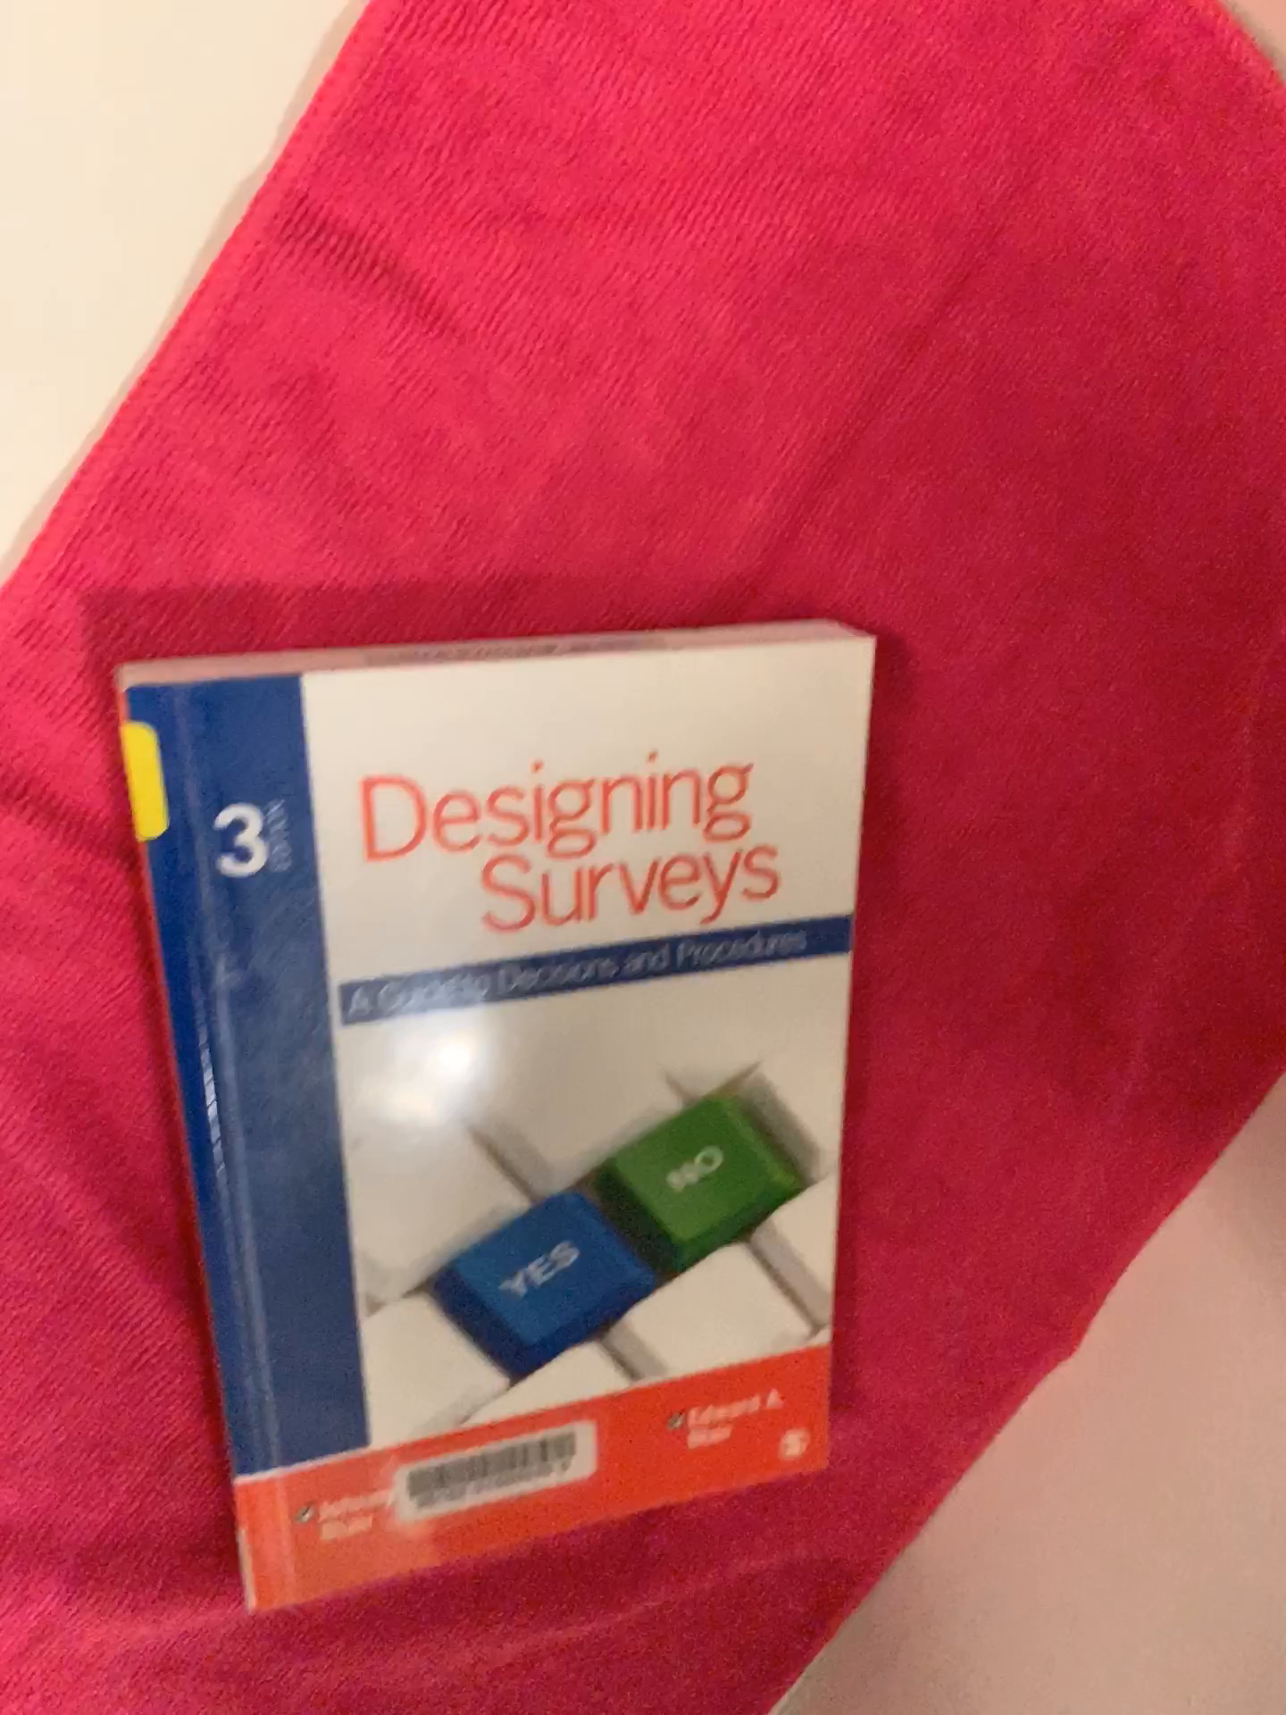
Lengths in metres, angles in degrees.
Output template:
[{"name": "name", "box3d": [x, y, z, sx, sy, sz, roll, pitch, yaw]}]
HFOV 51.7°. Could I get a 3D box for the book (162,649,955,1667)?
[{"name": "book", "box3d": [-0.014, 0.073, 0.312, 0.160, 0.026, 0.230, -7, 113, -19]}]
